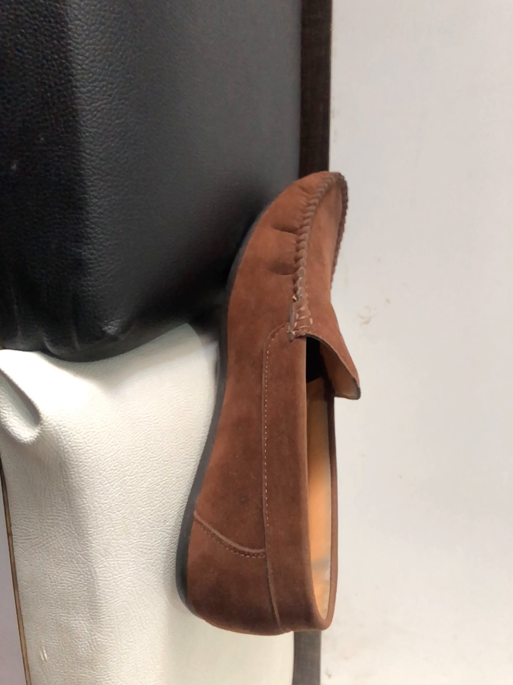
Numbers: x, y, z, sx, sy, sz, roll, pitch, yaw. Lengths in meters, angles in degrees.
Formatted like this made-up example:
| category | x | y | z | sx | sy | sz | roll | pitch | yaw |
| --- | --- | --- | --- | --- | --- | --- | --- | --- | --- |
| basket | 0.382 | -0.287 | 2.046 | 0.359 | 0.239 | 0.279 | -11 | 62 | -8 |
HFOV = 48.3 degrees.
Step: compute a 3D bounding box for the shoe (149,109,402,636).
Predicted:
| category | x | y | z | sx | sy | sz | roll | pitch | yaw |
| --- | --- | --- | --- | --- | --- | --- | --- | --- | --- |
| shoe | 0.035 | 0.017 | 0.366 | 0.141 | 0.080 | 0.290 | 57 | 41 | -61 |
